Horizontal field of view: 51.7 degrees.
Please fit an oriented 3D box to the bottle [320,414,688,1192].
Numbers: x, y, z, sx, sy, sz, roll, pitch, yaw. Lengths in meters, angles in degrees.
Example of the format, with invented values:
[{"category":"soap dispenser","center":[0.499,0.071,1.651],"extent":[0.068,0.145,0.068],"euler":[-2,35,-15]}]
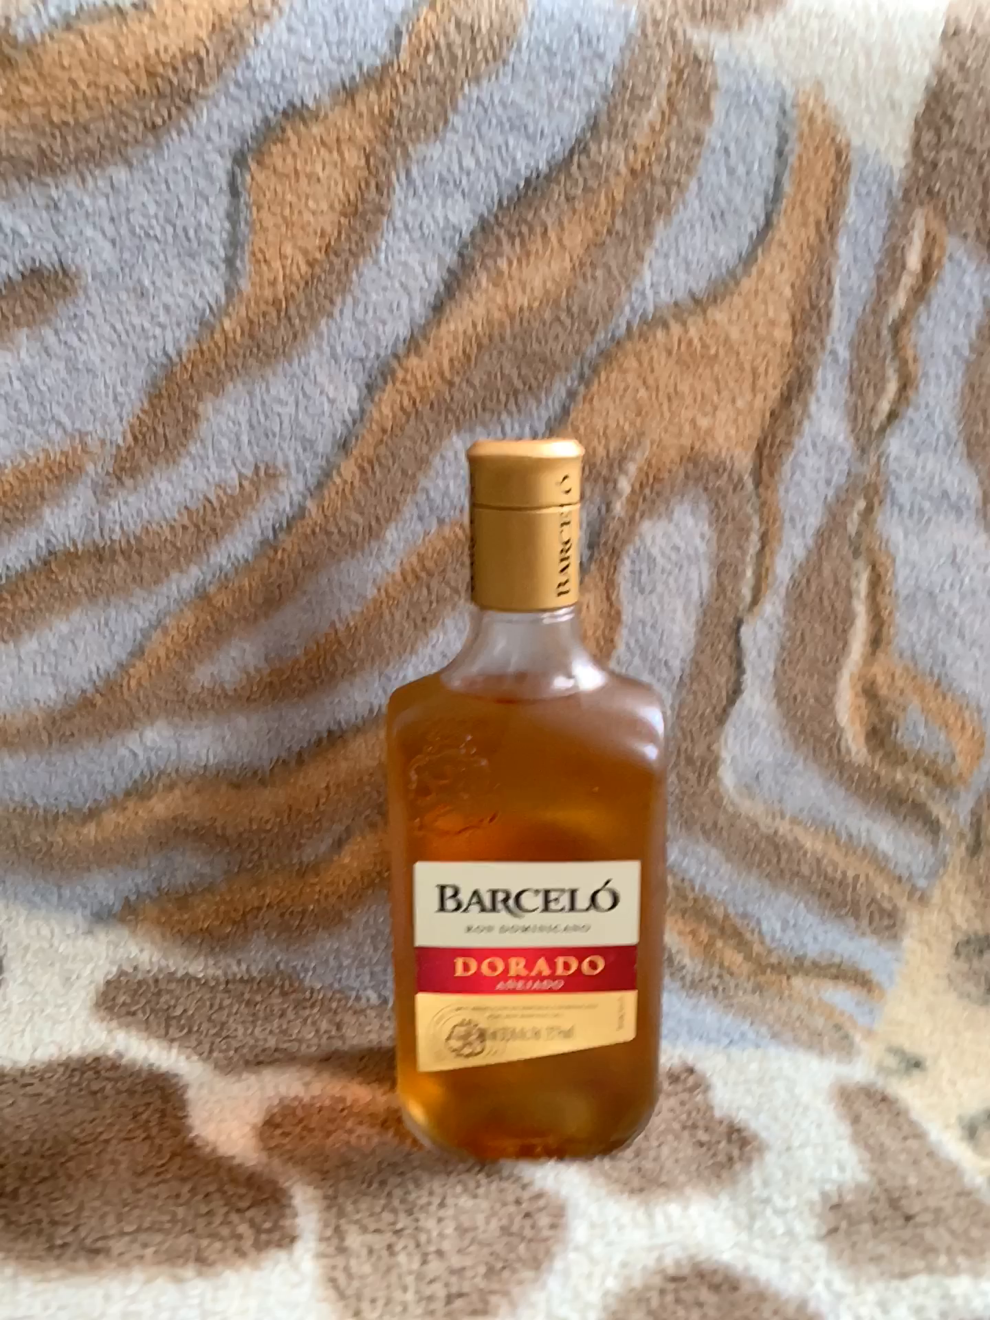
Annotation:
[{"category":"bottle","center":[0.001,0.040,0.310],"extent":[0.090,0.219,0.070],"euler":[-1,14,-4]}]
